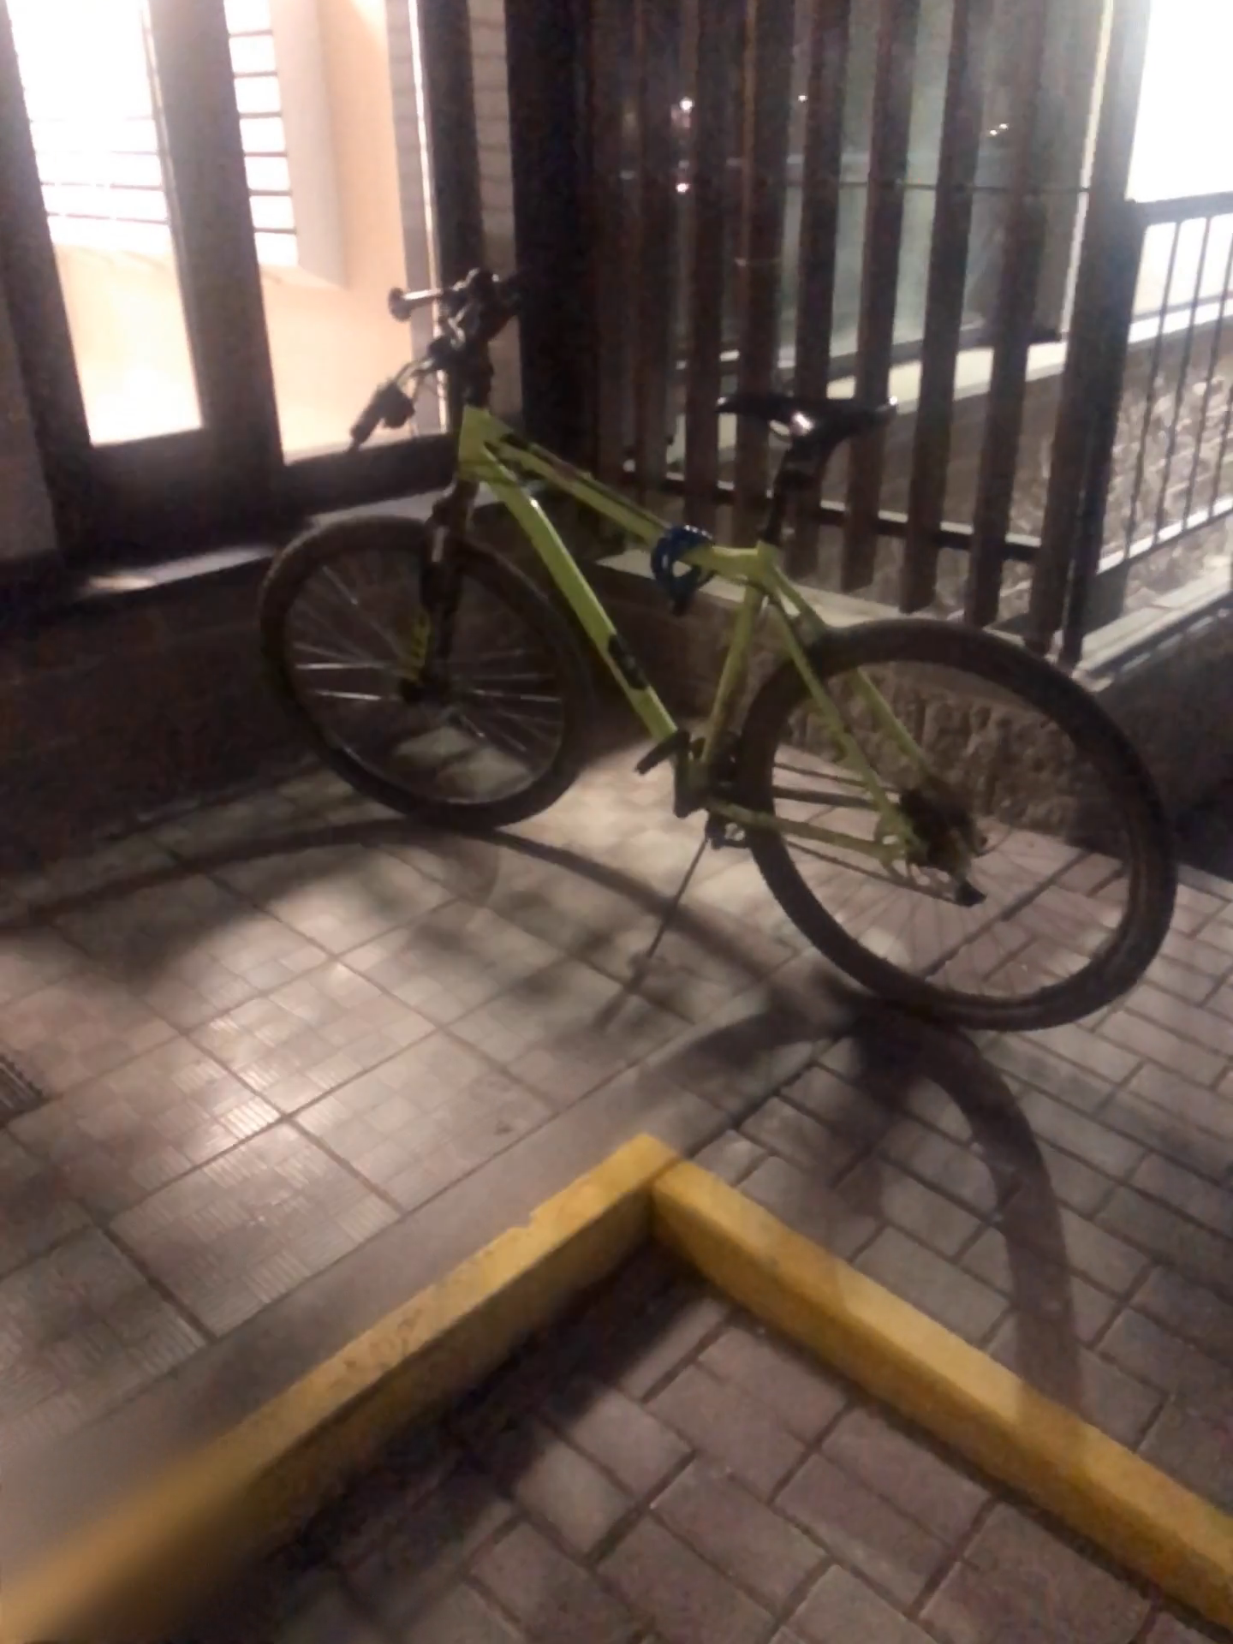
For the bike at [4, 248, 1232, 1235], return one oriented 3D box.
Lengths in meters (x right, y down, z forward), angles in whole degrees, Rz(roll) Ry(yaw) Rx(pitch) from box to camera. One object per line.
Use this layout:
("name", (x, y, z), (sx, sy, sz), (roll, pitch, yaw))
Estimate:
("bike", (-0.005, -0.293, 2.209), (1.763, 1.095, 0.722), (16, 31, 29))
